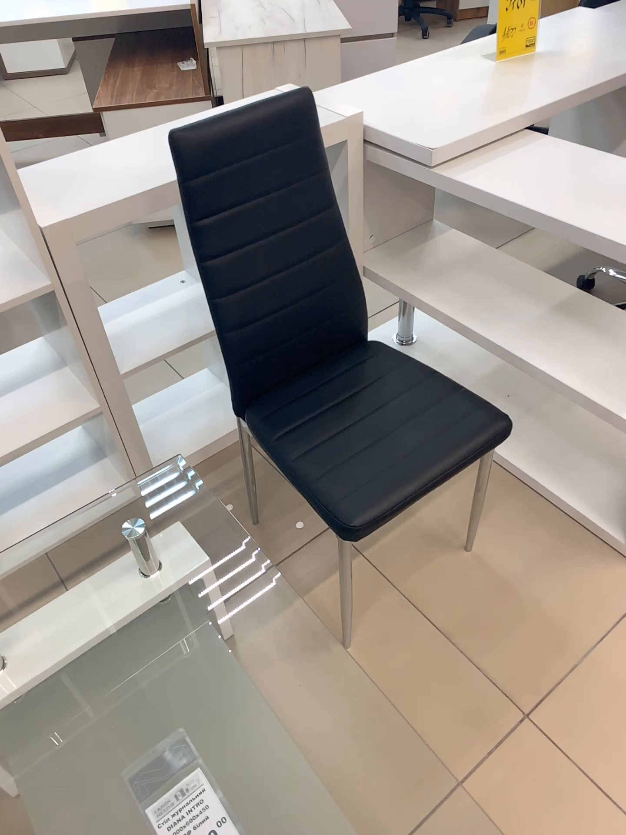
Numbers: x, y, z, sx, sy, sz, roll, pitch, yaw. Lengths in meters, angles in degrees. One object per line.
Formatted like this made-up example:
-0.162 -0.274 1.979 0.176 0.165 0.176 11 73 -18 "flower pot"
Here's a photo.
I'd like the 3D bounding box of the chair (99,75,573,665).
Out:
0.032 -0.076 1.277 0.440 0.916 0.602 -30 48 -23 "chair"
